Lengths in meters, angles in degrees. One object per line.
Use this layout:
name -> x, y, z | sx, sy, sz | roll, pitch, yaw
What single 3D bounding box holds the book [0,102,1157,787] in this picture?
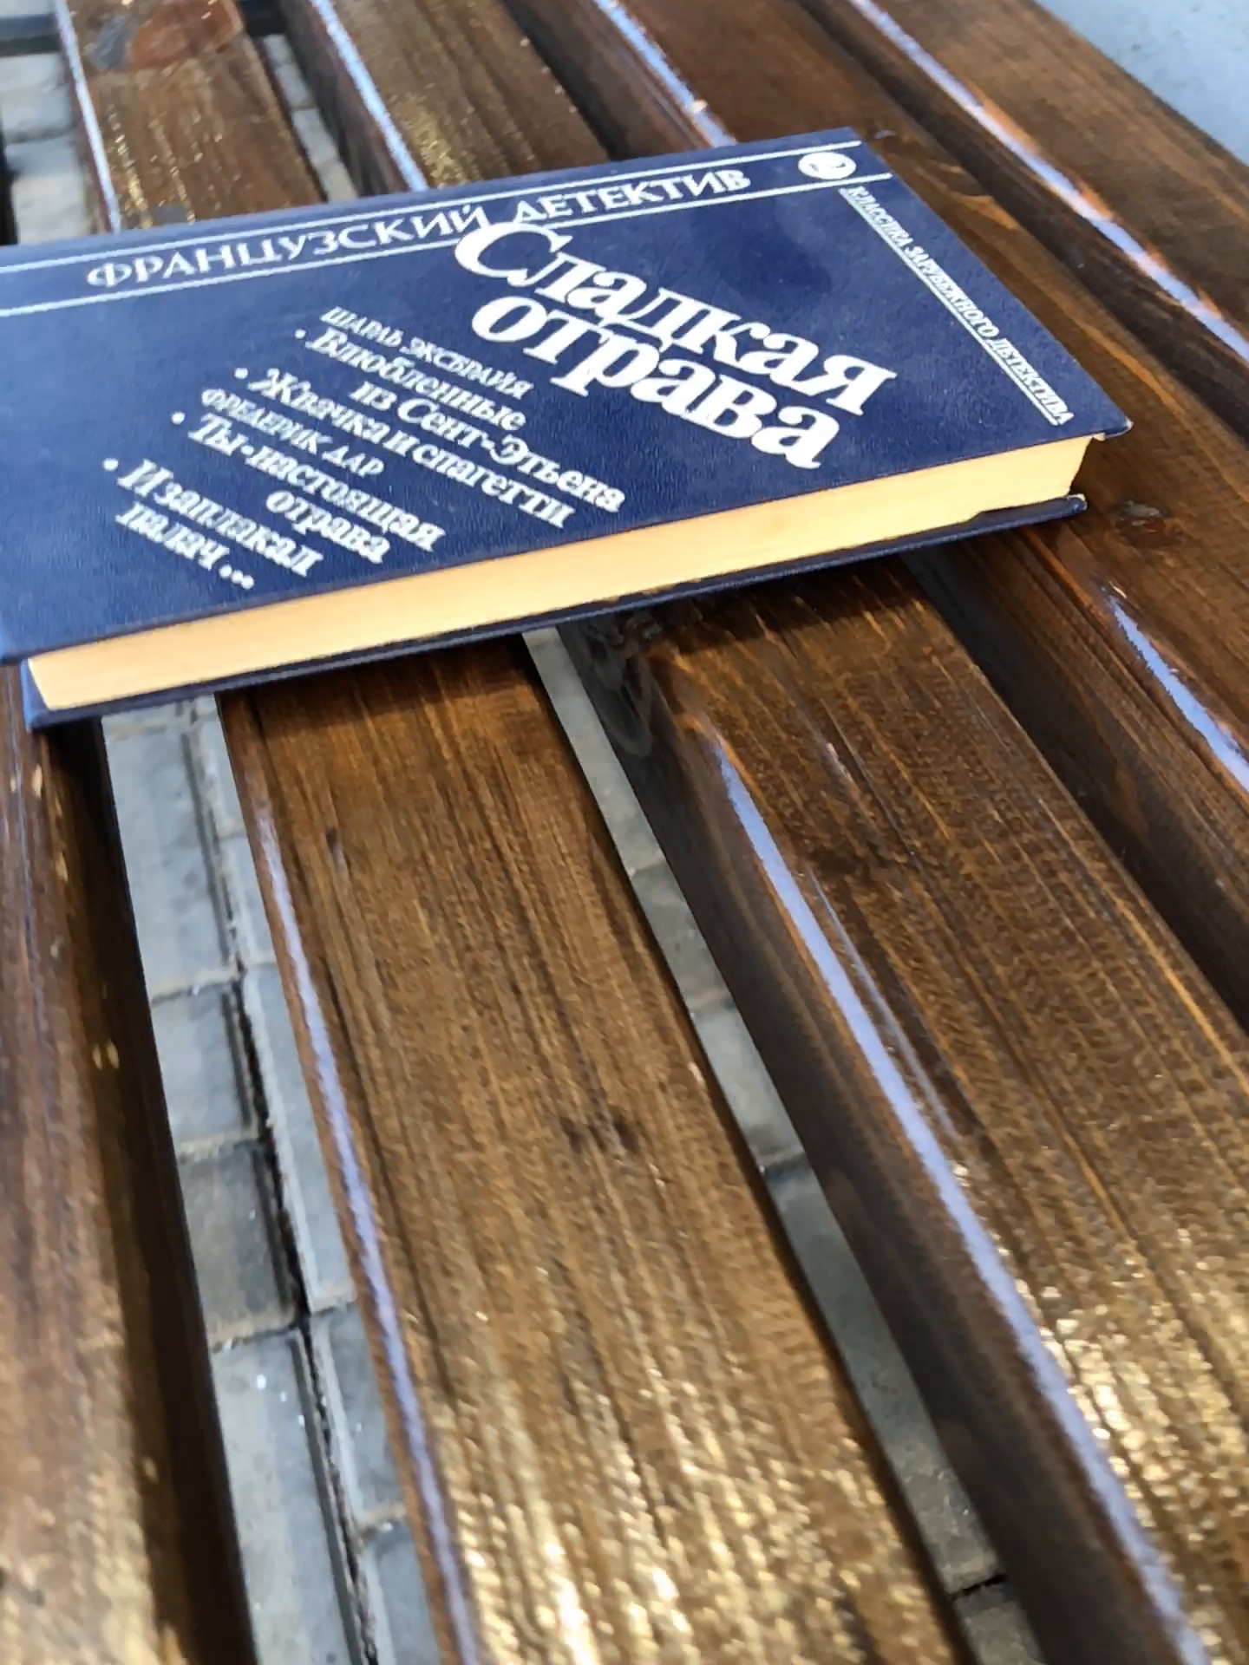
book -> -0.023, -0.092, 0.286 | 0.211, 0.030, 0.133 | -14, 53, -12
